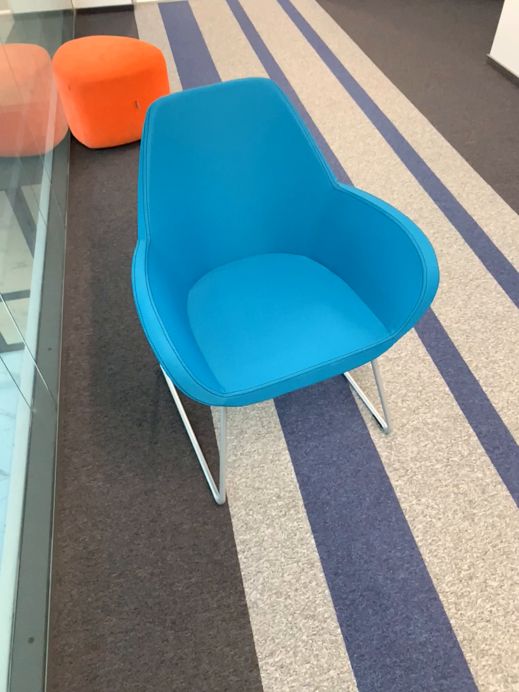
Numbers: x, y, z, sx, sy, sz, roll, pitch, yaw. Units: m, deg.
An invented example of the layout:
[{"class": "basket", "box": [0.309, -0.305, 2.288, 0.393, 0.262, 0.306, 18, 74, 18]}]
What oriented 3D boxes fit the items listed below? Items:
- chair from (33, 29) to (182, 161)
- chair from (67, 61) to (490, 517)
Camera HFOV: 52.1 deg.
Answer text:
[{"class": "chair", "box": [-0.884, -1.483, 3.099, 0.640, 0.396, 0.653, -18, 50, -14]}, {"class": "chair", "box": [0.001, -0.142, 1.414, 0.671, 0.836, 0.653, -18, 50, -14]}]
